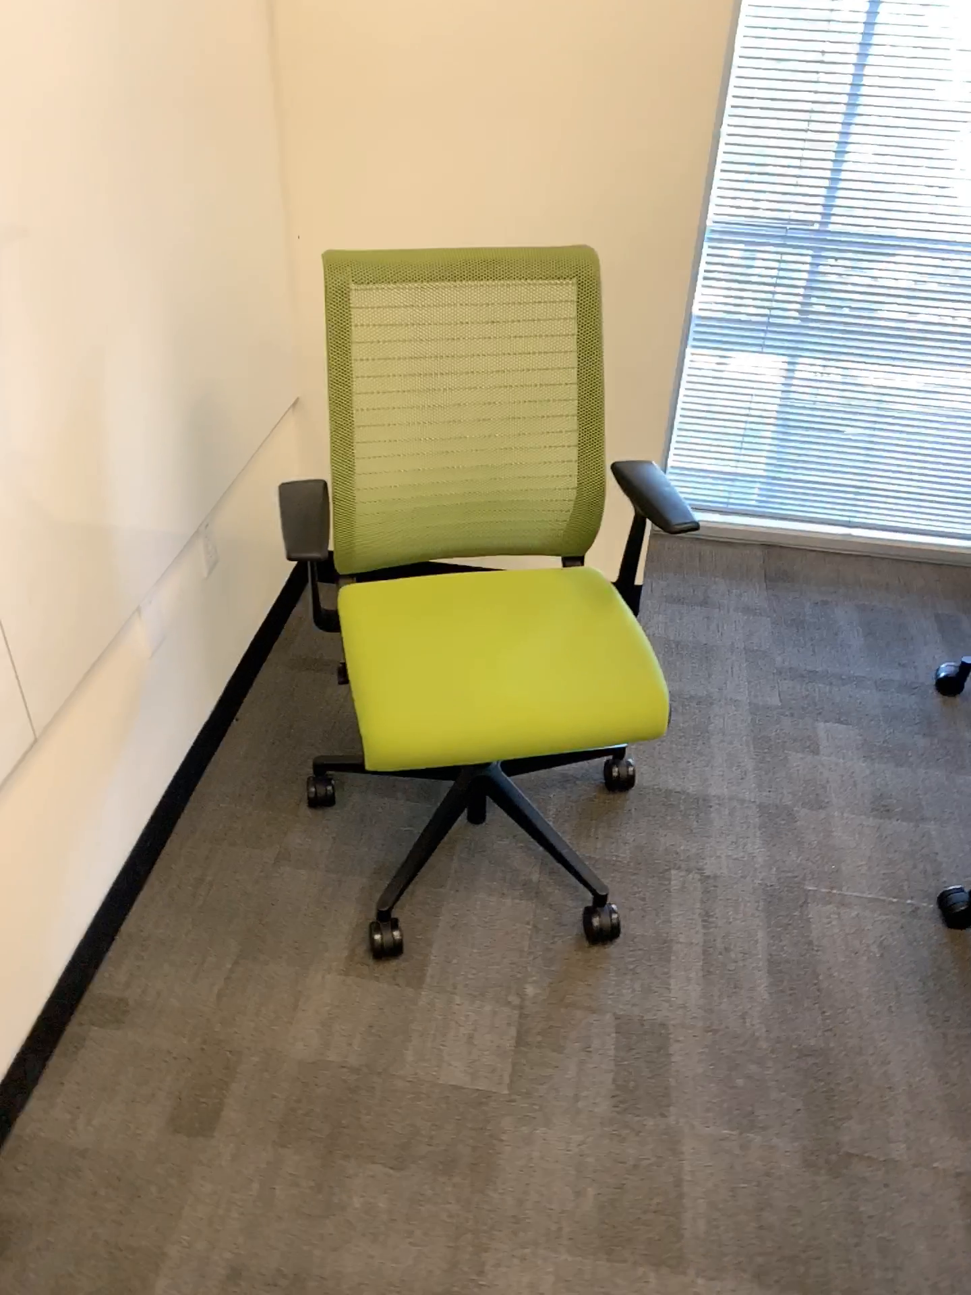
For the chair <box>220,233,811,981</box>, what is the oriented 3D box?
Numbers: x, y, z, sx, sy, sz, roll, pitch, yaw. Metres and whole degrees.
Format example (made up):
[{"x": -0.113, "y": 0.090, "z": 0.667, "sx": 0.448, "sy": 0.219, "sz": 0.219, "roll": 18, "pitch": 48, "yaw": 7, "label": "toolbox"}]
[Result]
[{"x": -0.037, "y": -0.105, "z": 1.776, "sx": 0.700, "sy": 0.994, "sz": 0.845, "roll": -4, "pitch": 38, "yaw": -9, "label": "chair"}]
